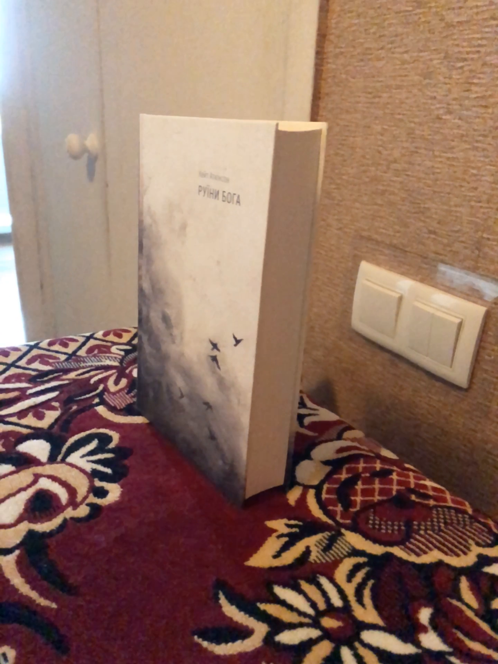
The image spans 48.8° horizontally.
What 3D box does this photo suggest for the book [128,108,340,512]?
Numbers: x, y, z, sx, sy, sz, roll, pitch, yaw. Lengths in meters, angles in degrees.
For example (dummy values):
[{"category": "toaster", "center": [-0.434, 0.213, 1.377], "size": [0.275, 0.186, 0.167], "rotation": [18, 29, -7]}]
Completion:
[{"category": "book", "center": [-0.025, -0.024, 0.344], "size": [0.040, 0.210, 0.151], "rotation": [-9, 24, -35]}]
